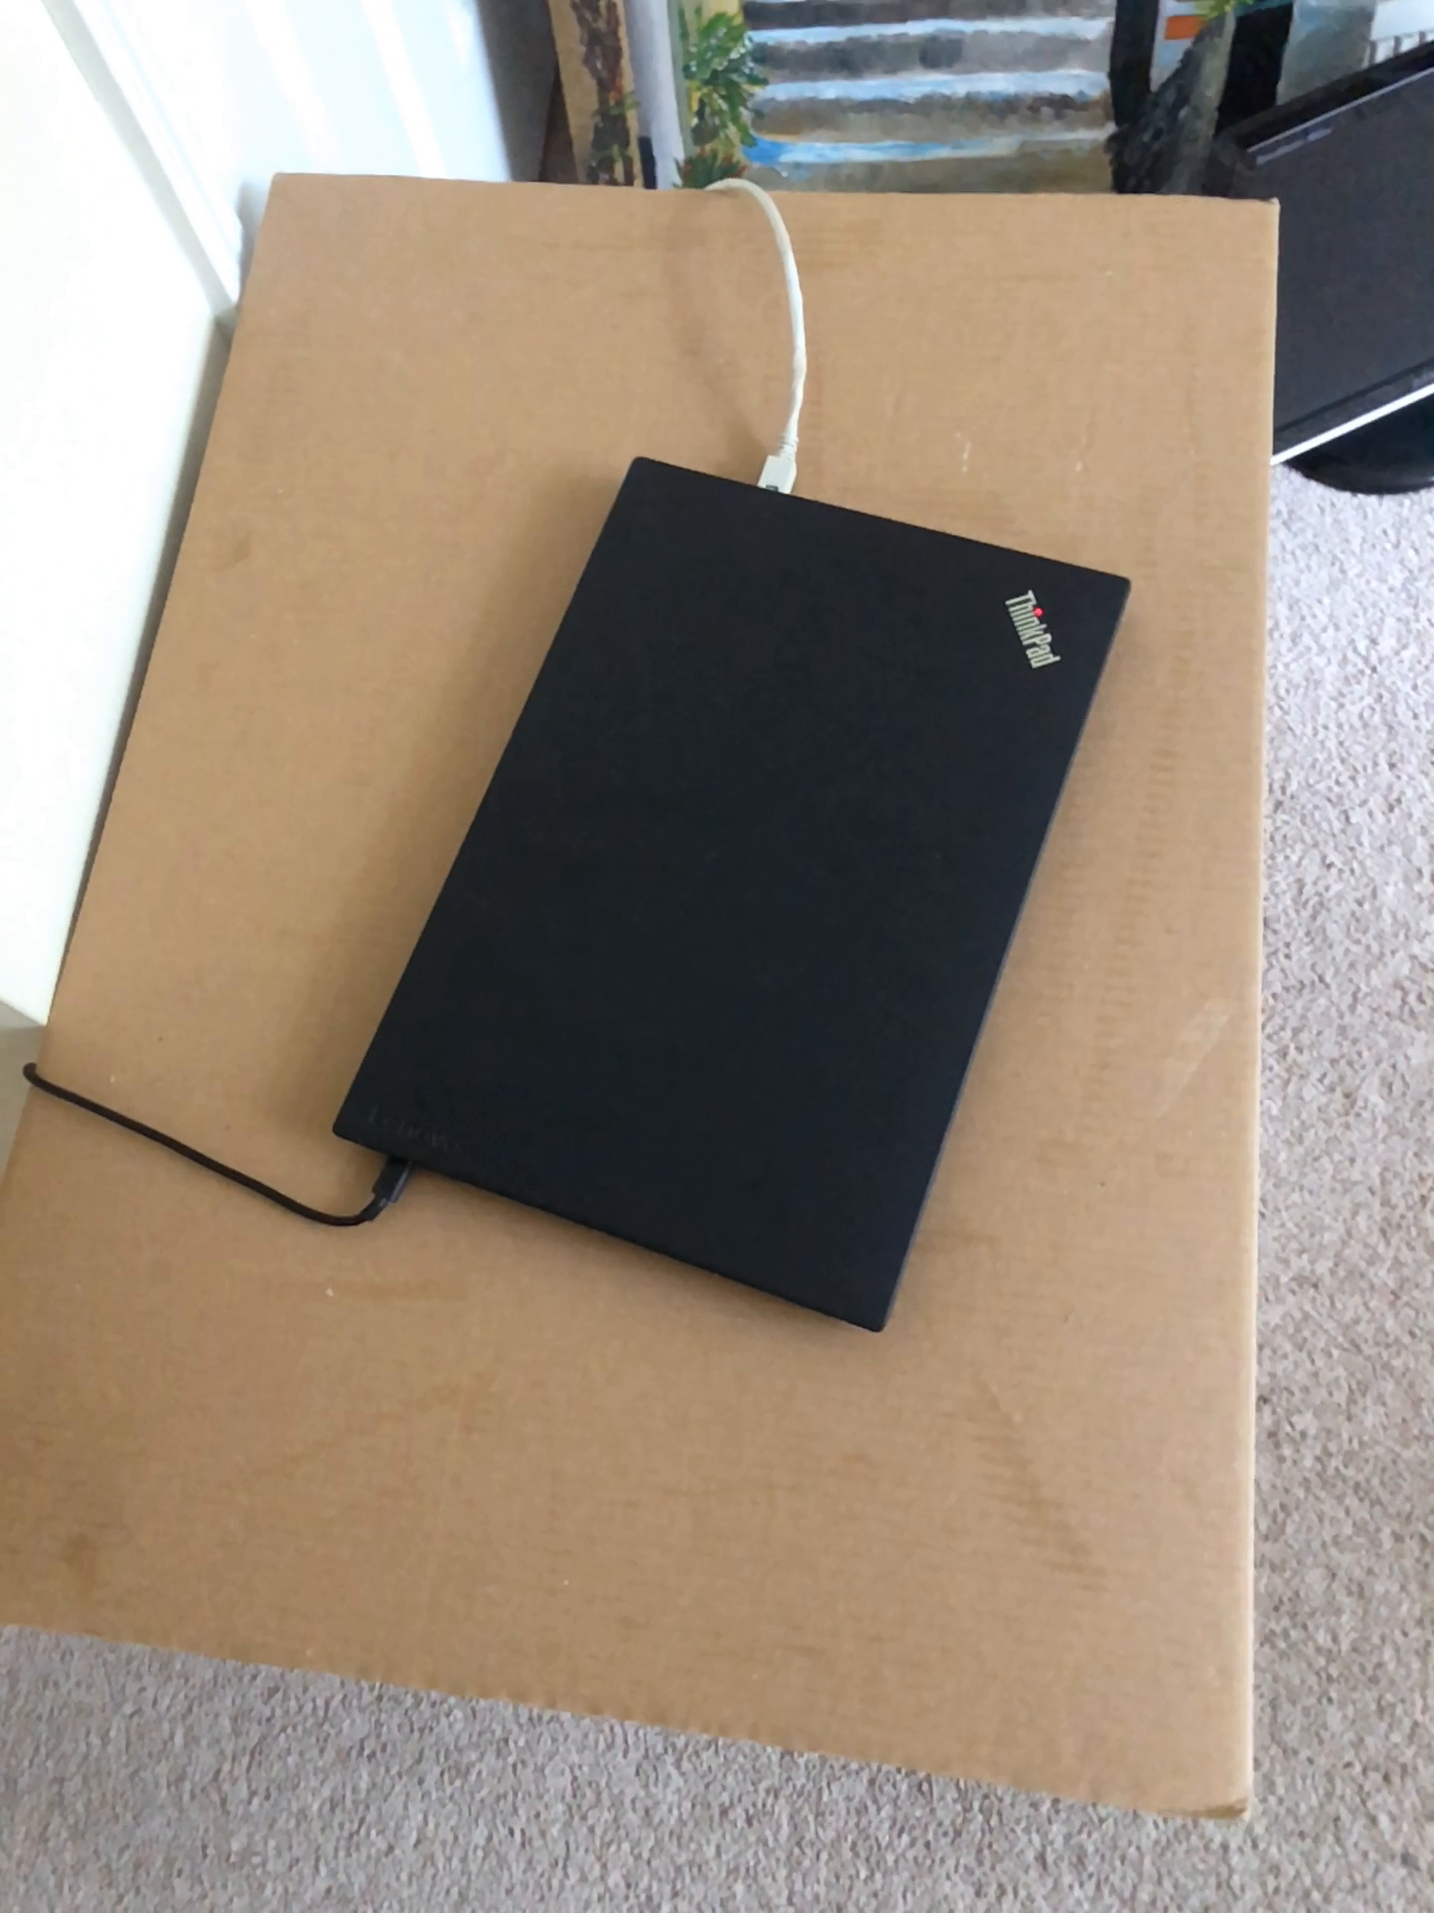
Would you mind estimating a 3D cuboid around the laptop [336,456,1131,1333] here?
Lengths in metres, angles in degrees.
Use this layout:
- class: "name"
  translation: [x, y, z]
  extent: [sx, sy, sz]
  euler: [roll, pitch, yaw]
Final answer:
- class: "laptop"
  translation: [0.013, -0.046, 0.636]
  extent: [0.225, 0.002, 0.328]
  euler: [17, 72, 13]
